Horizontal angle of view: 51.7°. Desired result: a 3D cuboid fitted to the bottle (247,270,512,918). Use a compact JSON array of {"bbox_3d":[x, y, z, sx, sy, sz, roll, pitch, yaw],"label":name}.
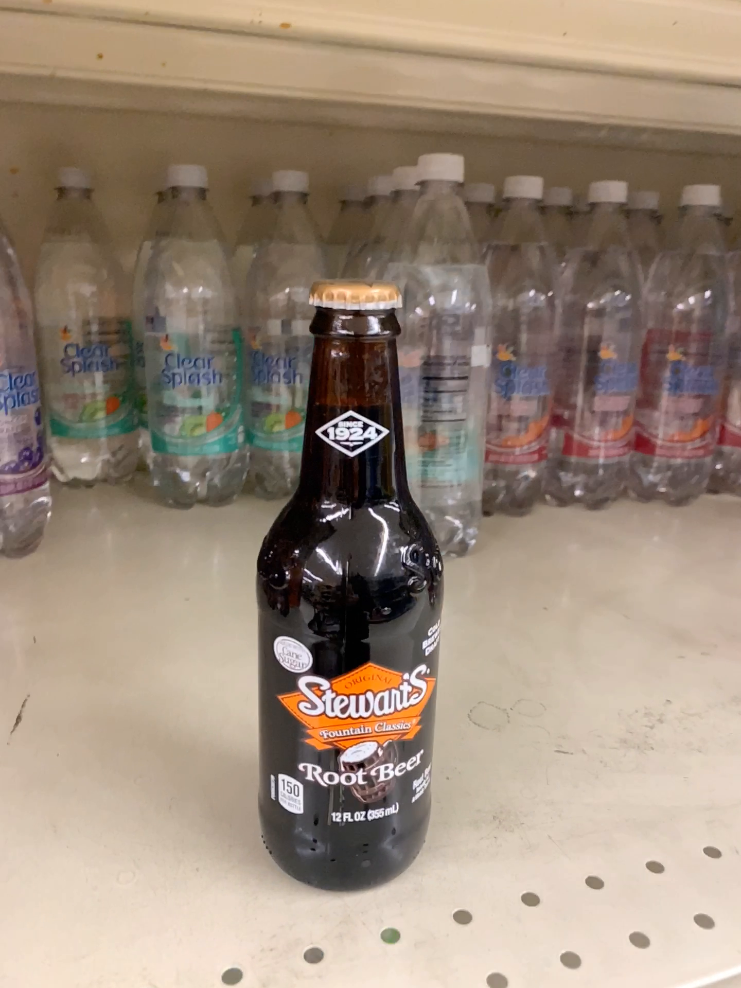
[{"bbox_3d":[-0.004,0.034,0.260,0.070,0.207,0.060,-1,18,-9],"label":"bottle"}]
